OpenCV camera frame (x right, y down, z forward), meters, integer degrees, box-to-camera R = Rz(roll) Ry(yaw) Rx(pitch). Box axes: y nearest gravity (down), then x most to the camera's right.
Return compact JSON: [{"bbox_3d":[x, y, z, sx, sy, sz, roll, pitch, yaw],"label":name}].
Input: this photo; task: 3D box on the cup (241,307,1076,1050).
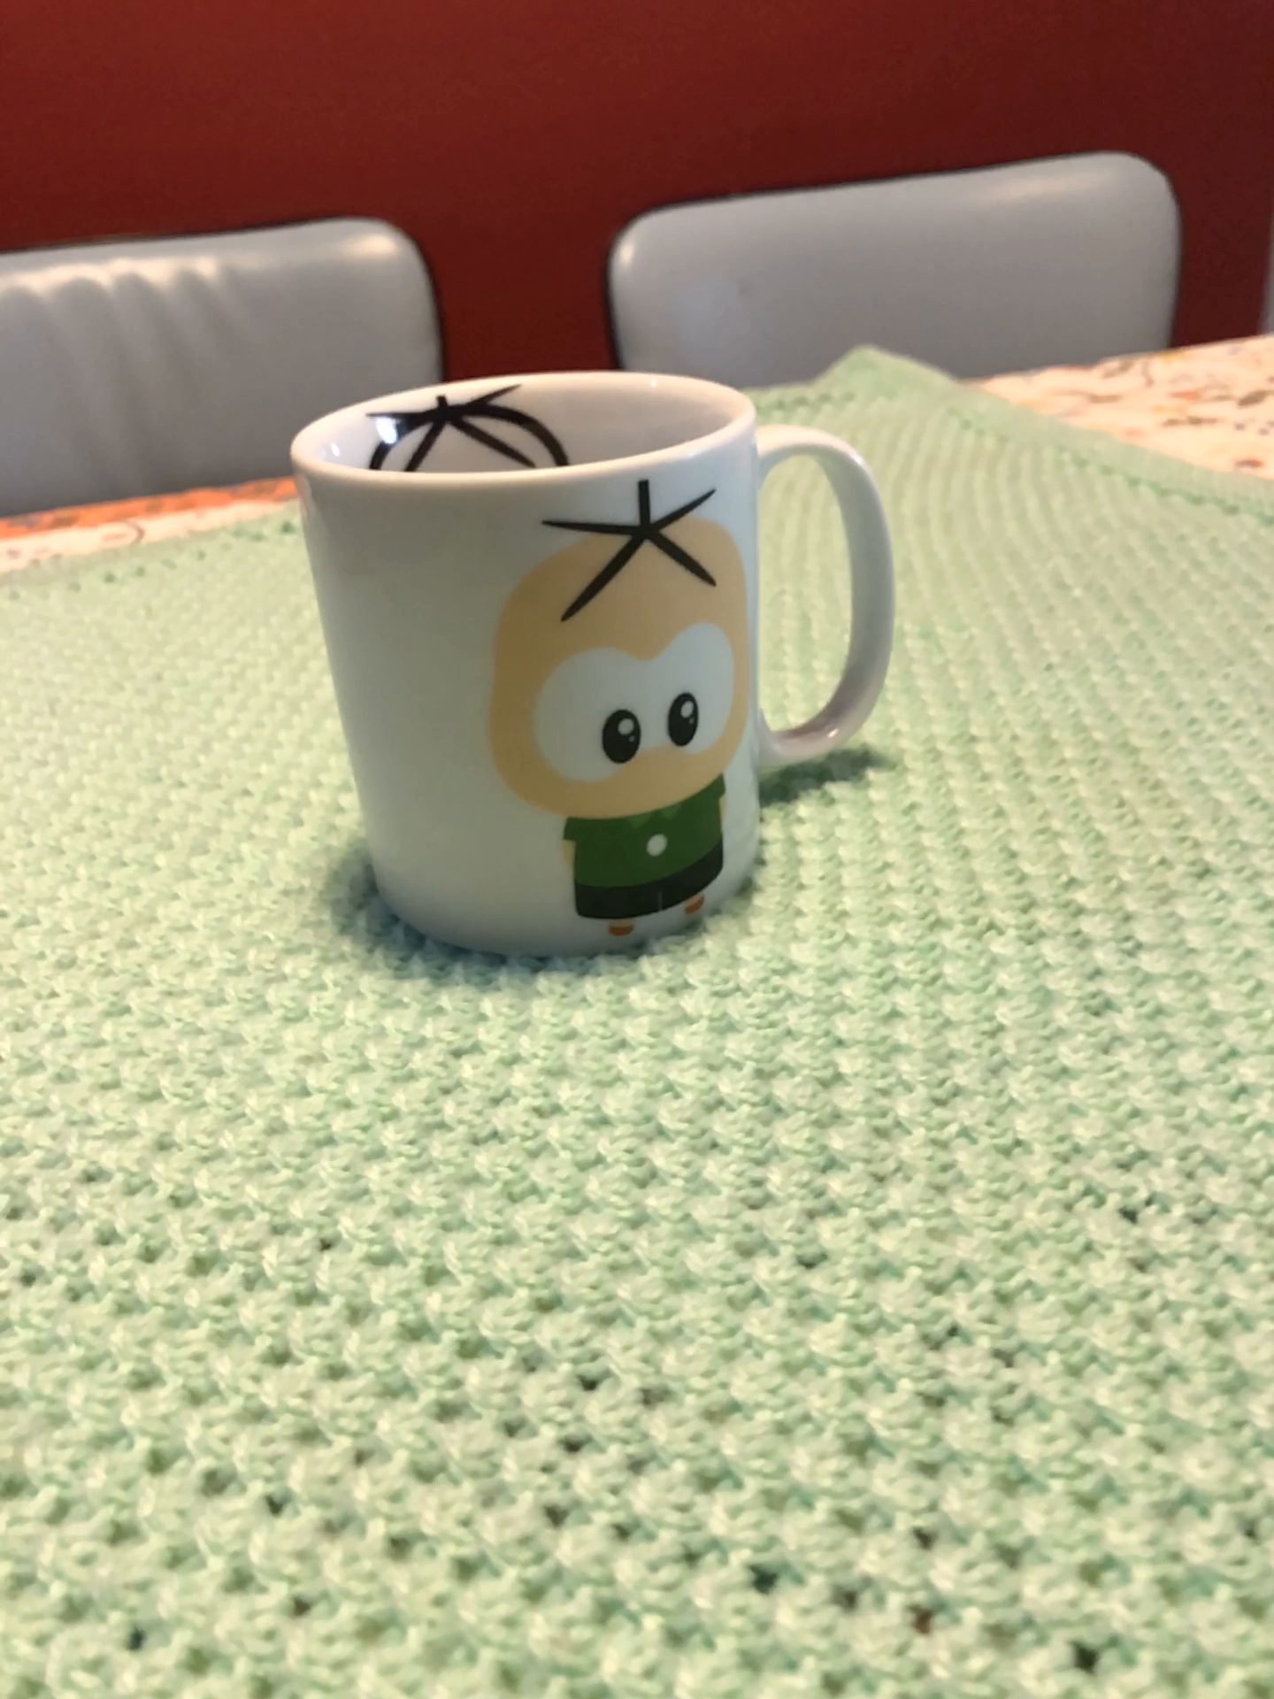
[{"bbox_3d":[0.004,-0.044,0.290,0.130,0.099,0.090,-16,31,-19],"label":"cup"}]
